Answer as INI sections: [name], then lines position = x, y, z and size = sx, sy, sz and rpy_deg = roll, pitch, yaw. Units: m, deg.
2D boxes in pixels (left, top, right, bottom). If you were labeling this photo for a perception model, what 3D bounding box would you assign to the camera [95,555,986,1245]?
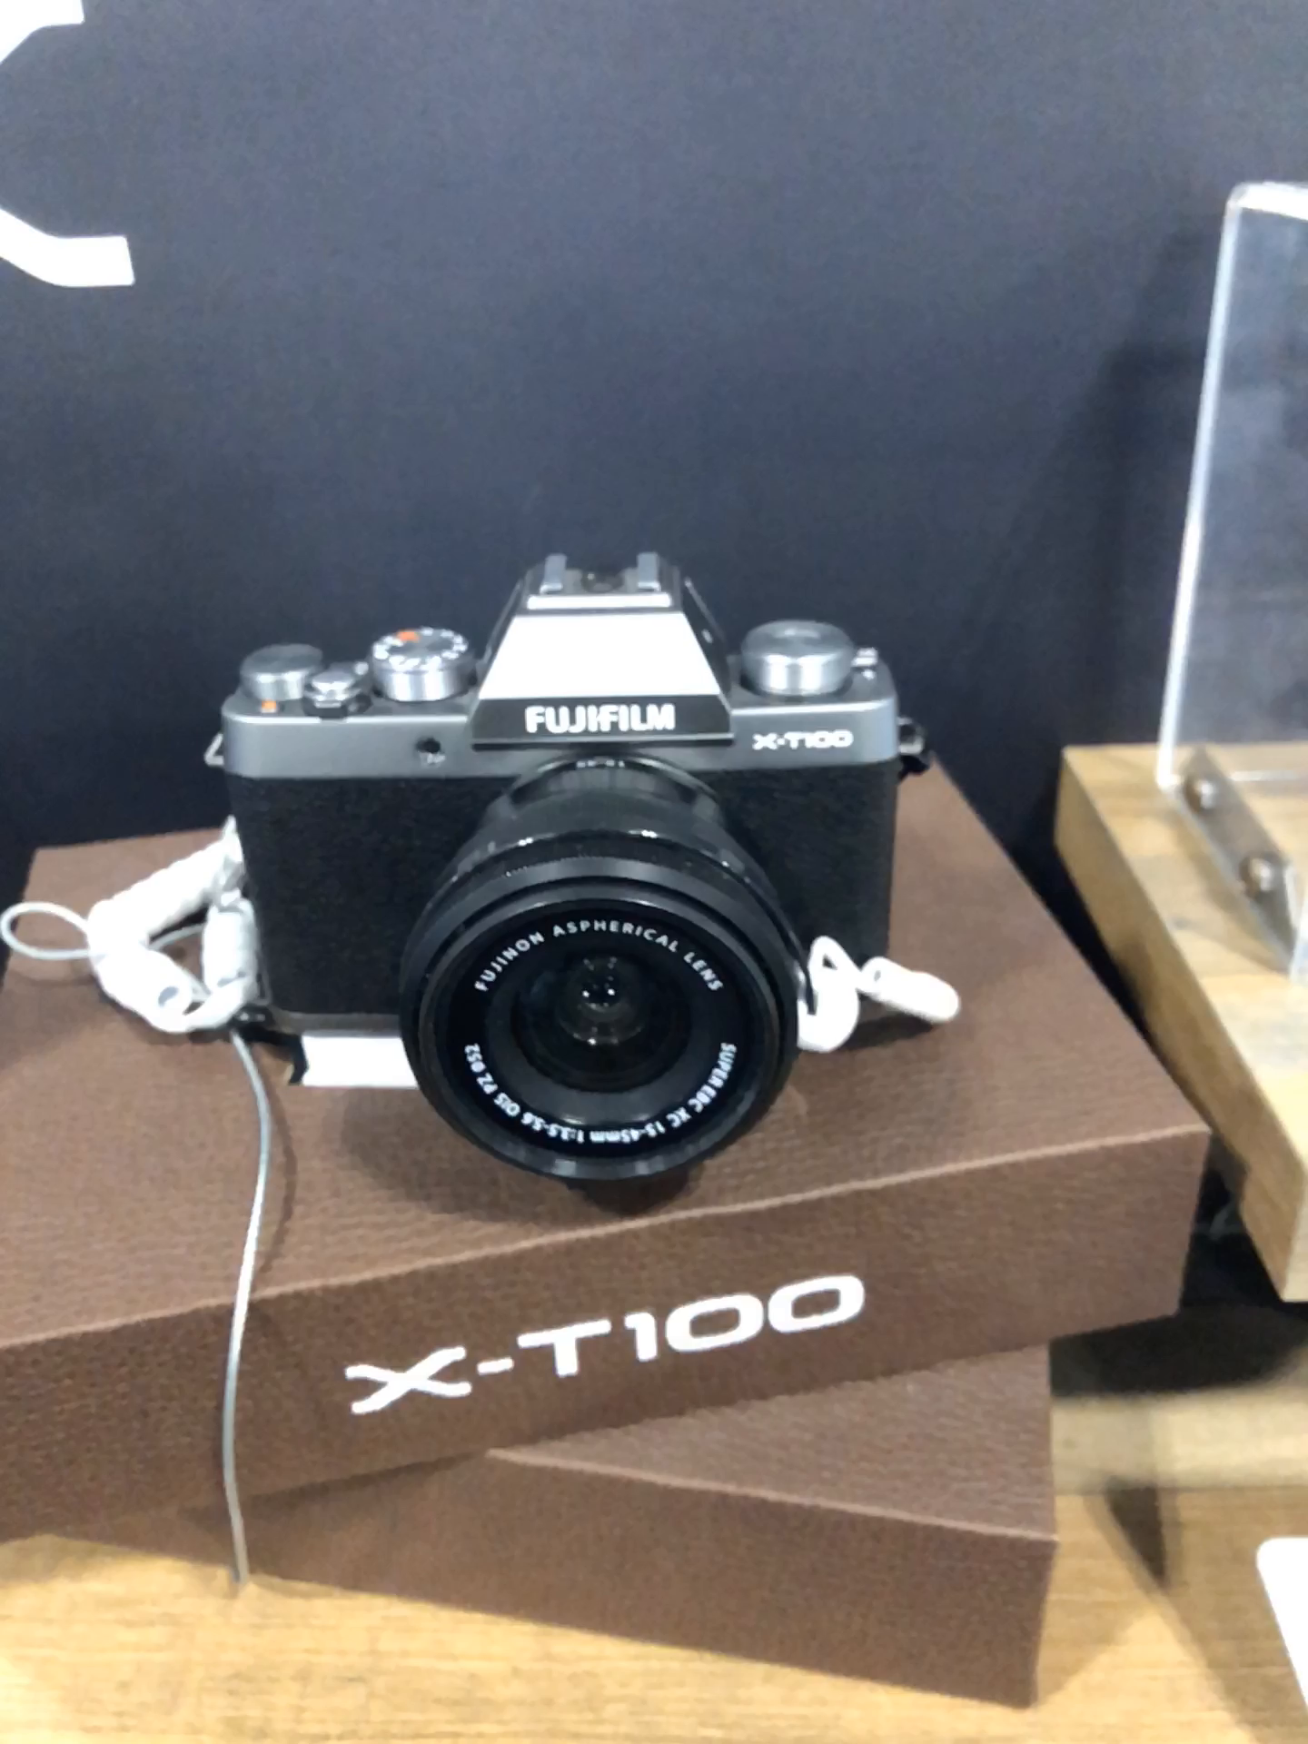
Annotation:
[camera]
position = -0.015, 0.000, 0.278
size = 0.130, 0.089, 0.101
rpy_deg = -2, 27, 2
